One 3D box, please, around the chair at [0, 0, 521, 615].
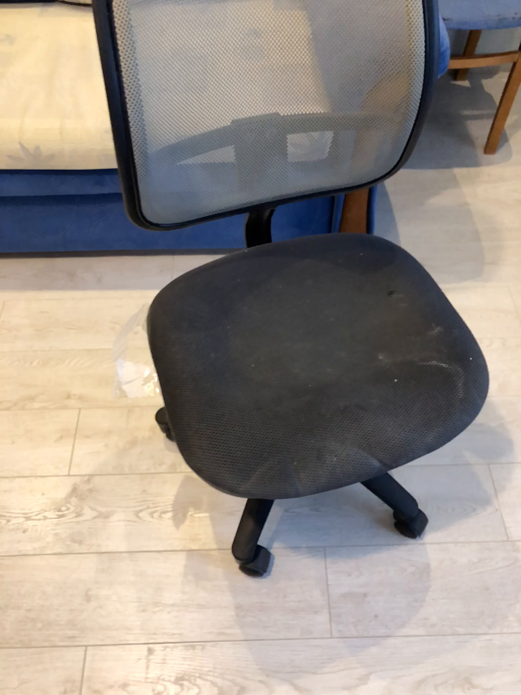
[{"bbox_3d":[0.054,-0.070,0.757,0.660,0.736,0.513,-12,56,-7],"label":"chair"}]
